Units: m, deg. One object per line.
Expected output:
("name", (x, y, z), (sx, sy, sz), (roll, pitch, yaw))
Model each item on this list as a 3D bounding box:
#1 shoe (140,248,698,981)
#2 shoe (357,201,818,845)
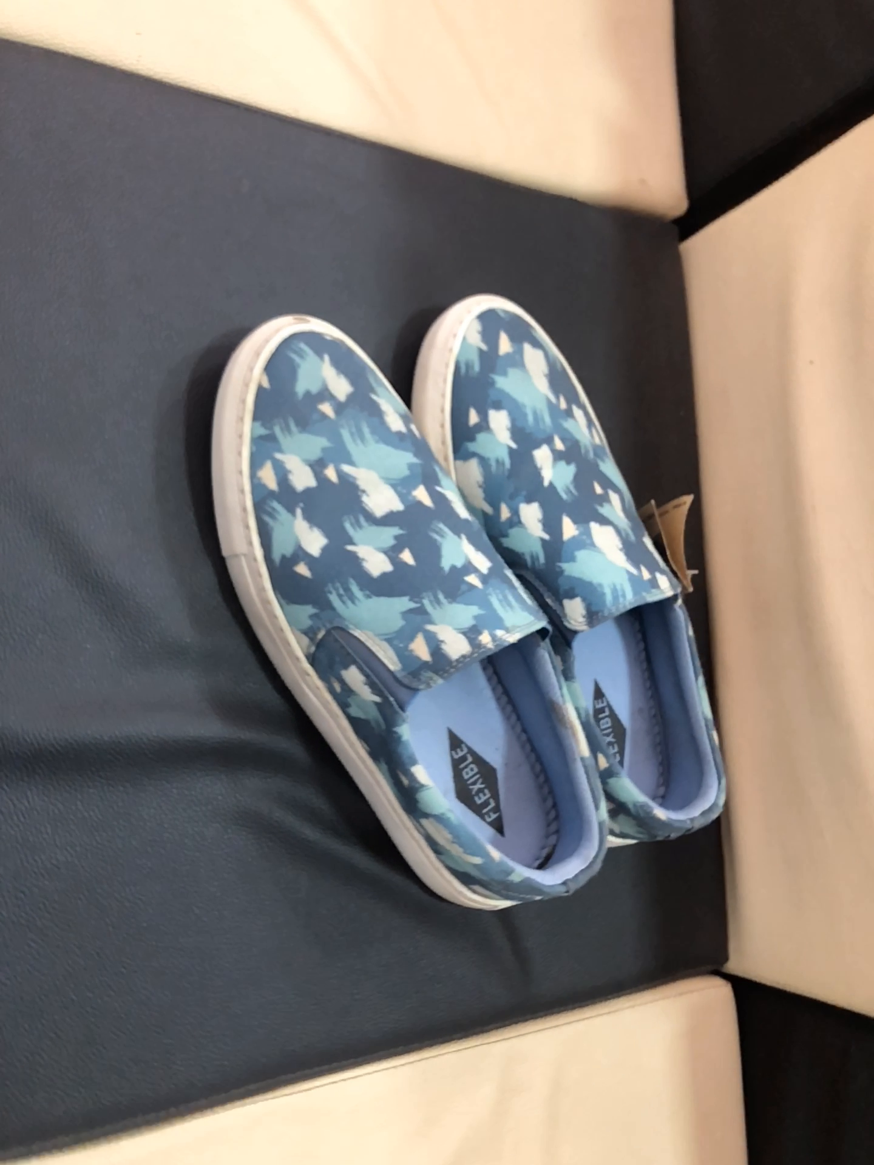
("shoe", (-0.006, 0.014, 0.442), (0.121, 0.089, 0.280), (-29, 98, -29))
("shoe", (0.078, -0.027, 0.475), (0.111, 0.060, 0.280), (-29, 98, -29))
